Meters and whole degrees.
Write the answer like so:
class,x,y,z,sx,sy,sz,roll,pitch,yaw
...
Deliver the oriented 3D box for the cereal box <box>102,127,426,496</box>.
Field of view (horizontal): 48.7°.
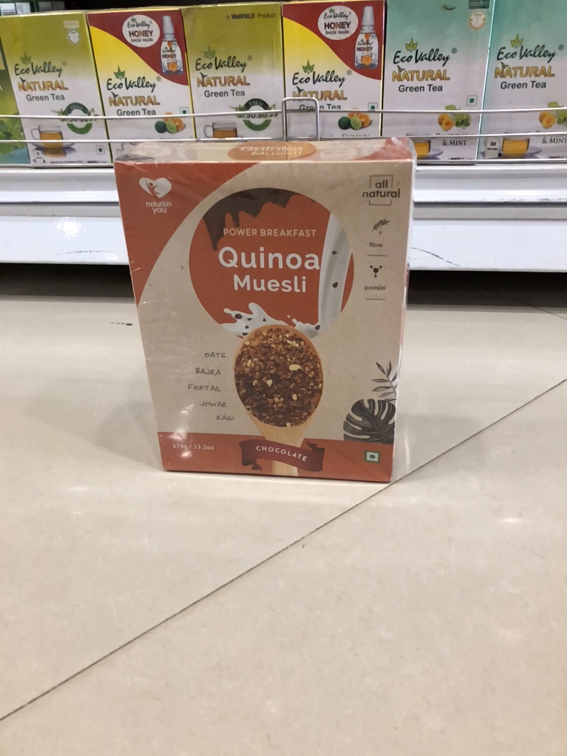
class,x,y,z,sx,sy,sz,roll,pitch,yaw
cereal box,-0.006,-0.033,0.384,0.160,0.219,0.050,3,32,7
